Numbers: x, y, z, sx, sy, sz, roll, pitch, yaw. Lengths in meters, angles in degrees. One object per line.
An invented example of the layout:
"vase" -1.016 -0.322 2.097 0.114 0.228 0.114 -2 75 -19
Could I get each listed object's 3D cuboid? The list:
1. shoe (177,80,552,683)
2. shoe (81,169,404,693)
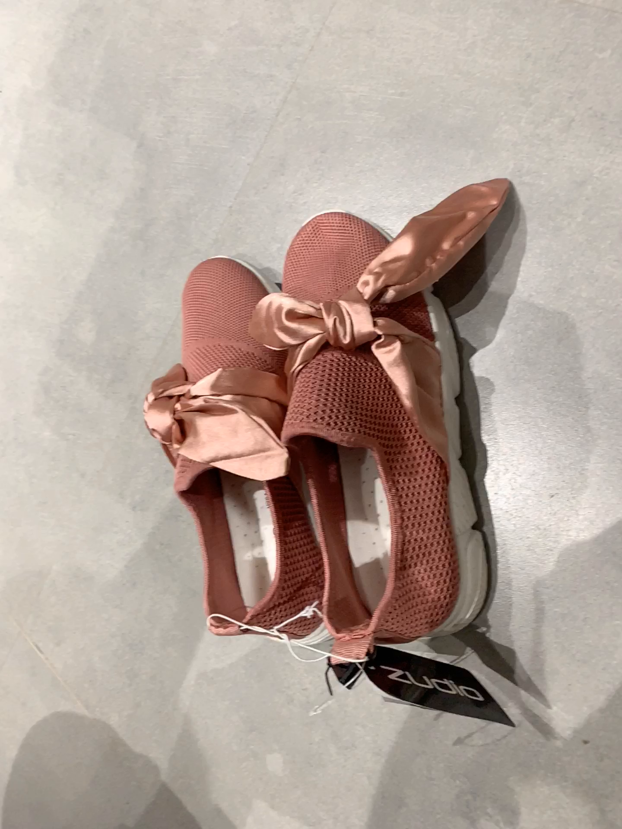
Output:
"shoe" 0.026 -0.014 0.350 0.110 0.100 0.270 -20 76 27
"shoe" -0.045 0.011 0.398 0.110 0.100 0.270 -20 76 27
